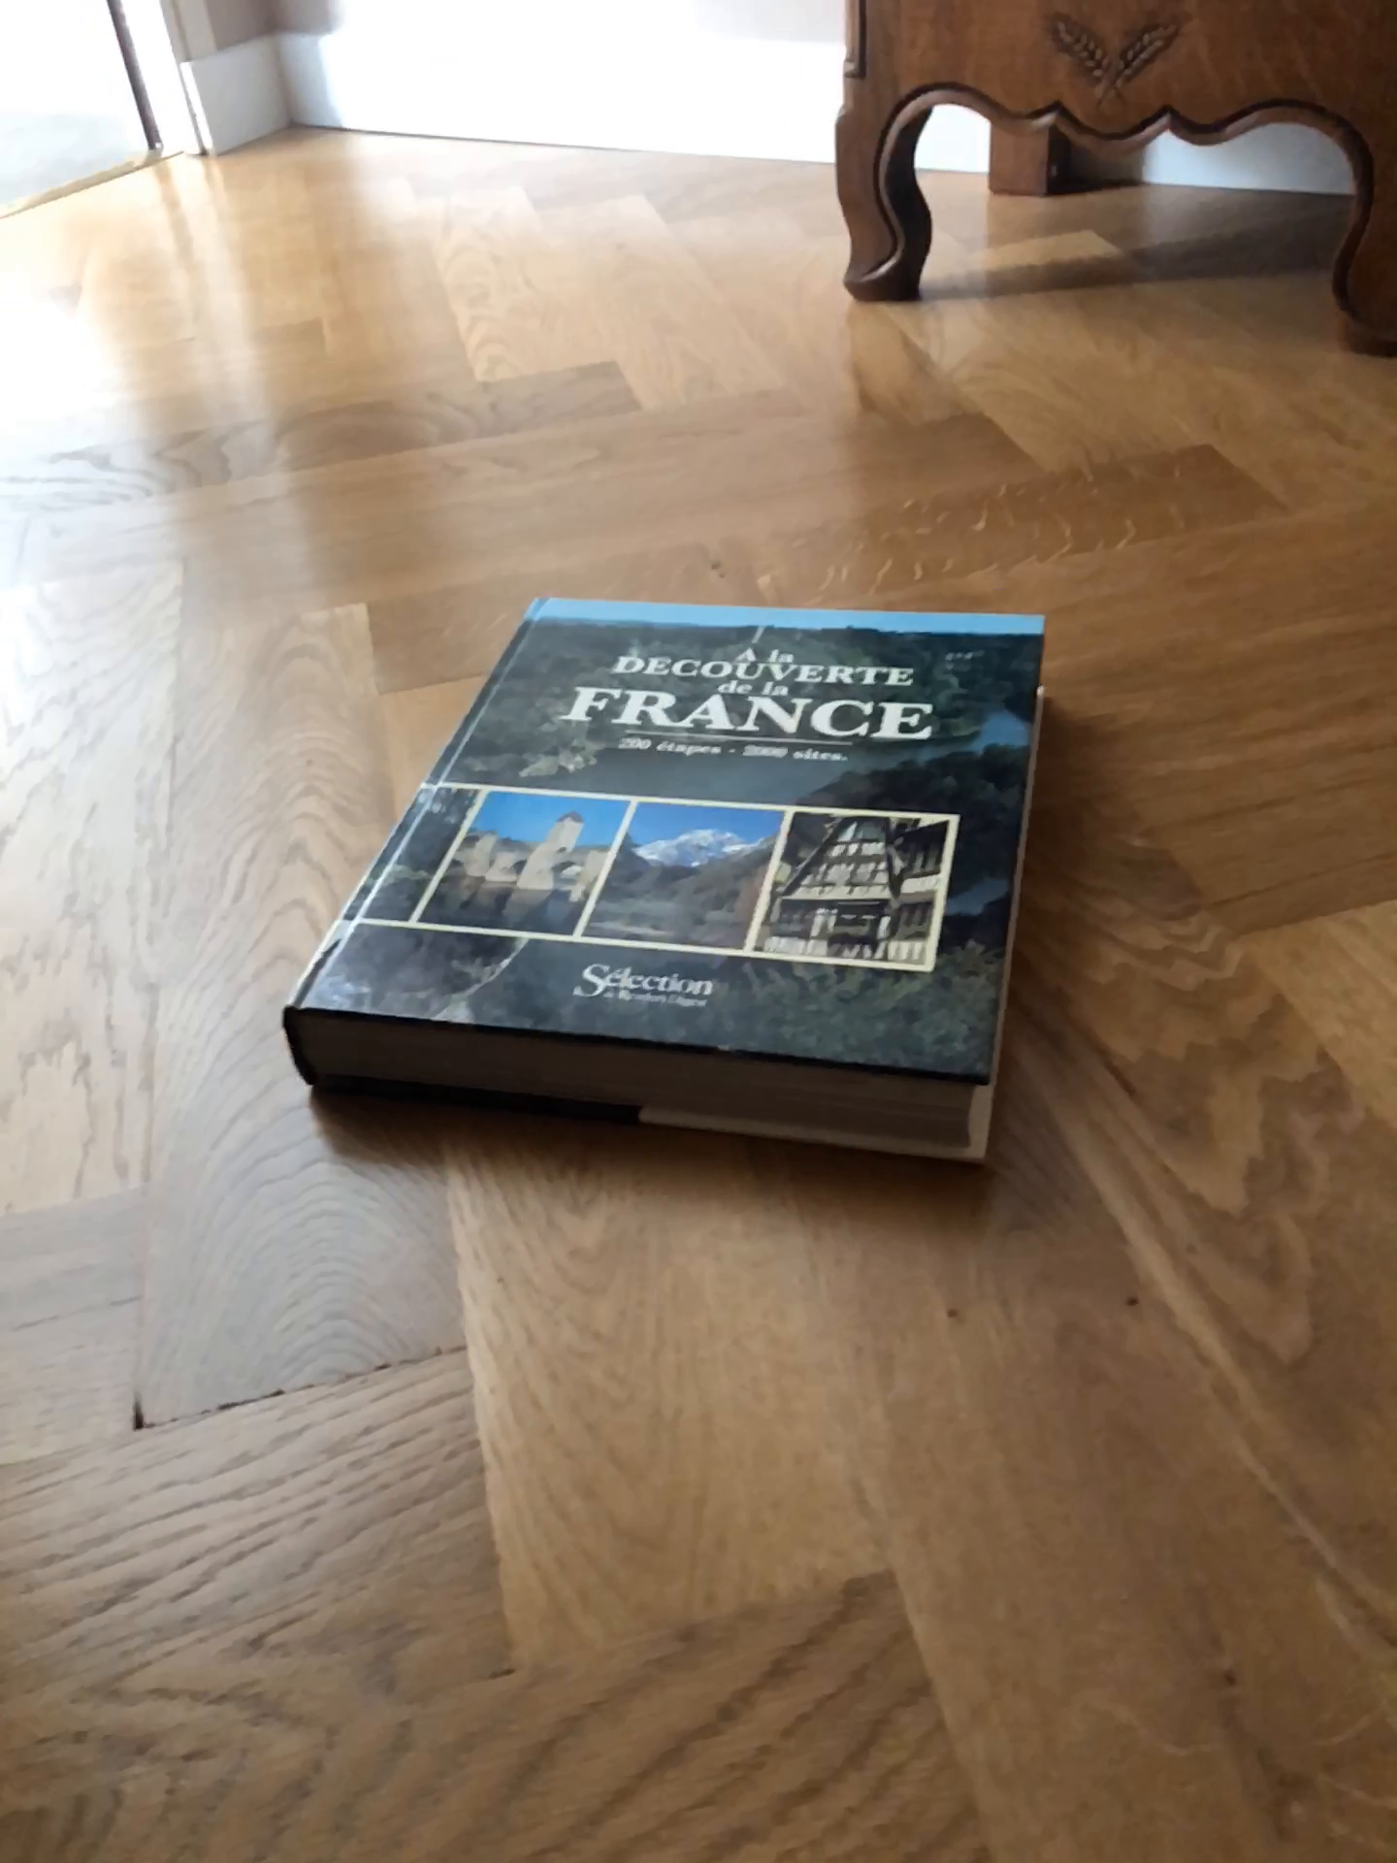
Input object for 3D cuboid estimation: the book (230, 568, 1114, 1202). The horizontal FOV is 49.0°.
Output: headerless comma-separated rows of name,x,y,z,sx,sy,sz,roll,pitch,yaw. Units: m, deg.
book,0.015,-0.042,0.556,0.250,0.040,0.292,5,41,14
